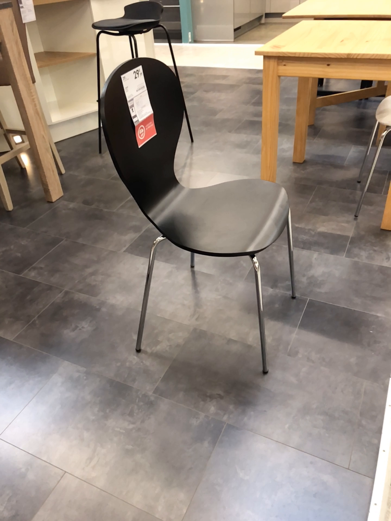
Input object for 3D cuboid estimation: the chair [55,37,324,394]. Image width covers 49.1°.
[{"bbox_3d":[0.044,-0.140,1.309,0.500,0.895,0.493,12,39,22],"label":"chair"}]
